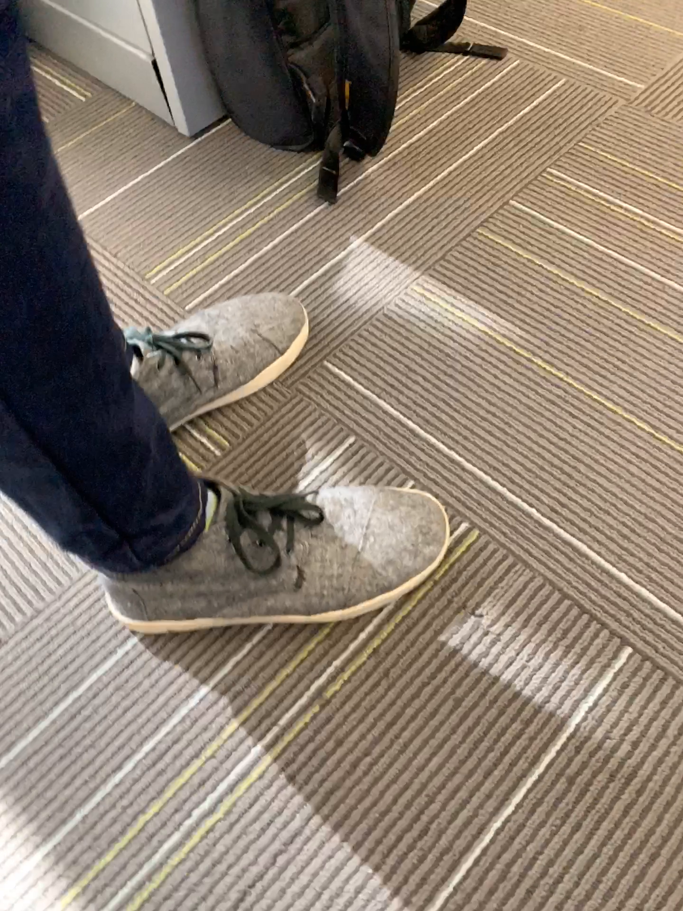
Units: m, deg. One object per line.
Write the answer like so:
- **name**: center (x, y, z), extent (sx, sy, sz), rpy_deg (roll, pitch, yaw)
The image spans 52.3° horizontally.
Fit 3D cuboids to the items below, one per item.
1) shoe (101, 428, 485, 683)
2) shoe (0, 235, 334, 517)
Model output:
- **shoe**: center (-0.045, 0.086, 0.602), extent (0.299, 0.087, 0.134), rpy_deg (-12, 58, -1)
- **shoe**: center (-0.170, -0.090, 0.724), extent (0.301, 0.087, 0.134), rpy_deg (-36, 61, -16)
